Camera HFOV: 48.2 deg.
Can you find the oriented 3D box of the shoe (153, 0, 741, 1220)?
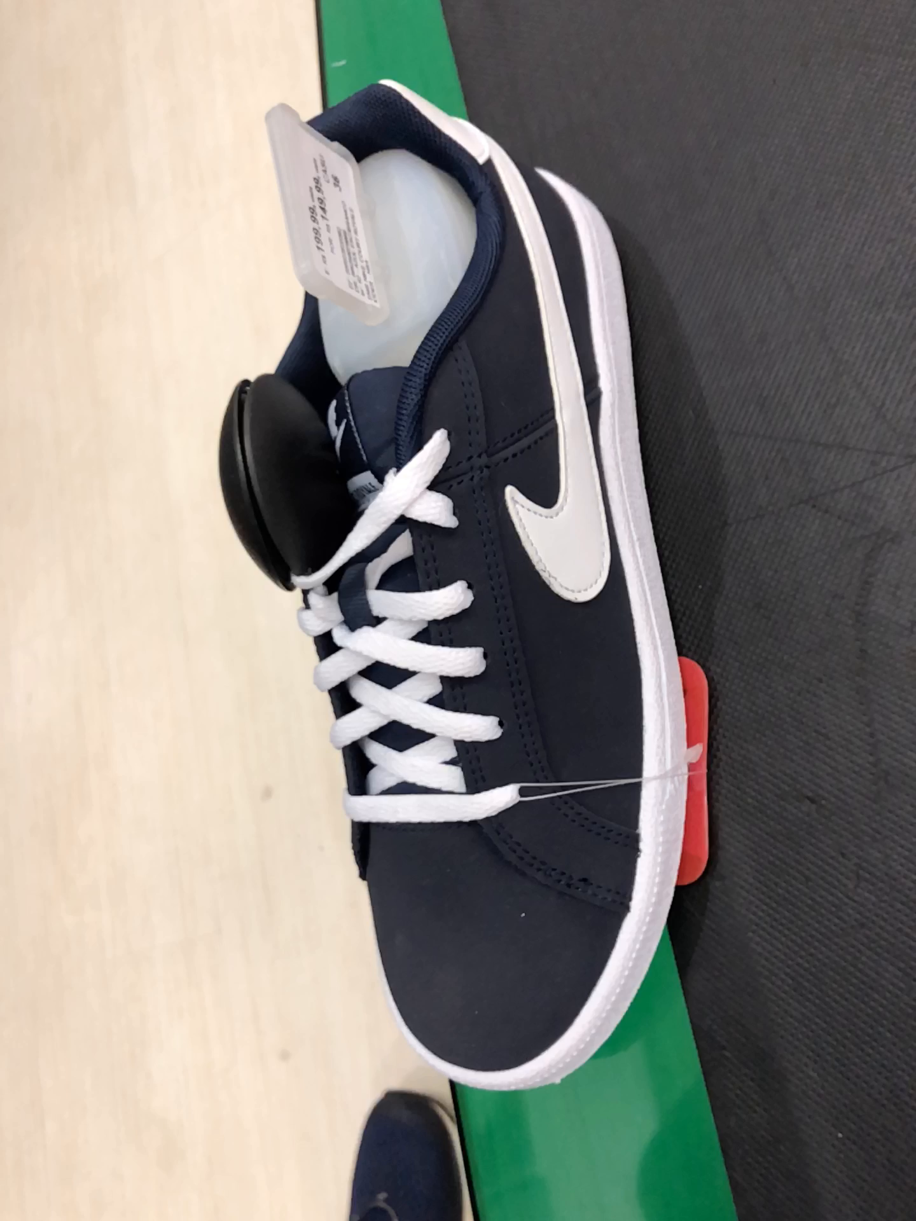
[{"bbox_3d":[-0.002,0.000,0.269,0.110,0.090,0.250,-7,78,36],"label":"shoe"}]
